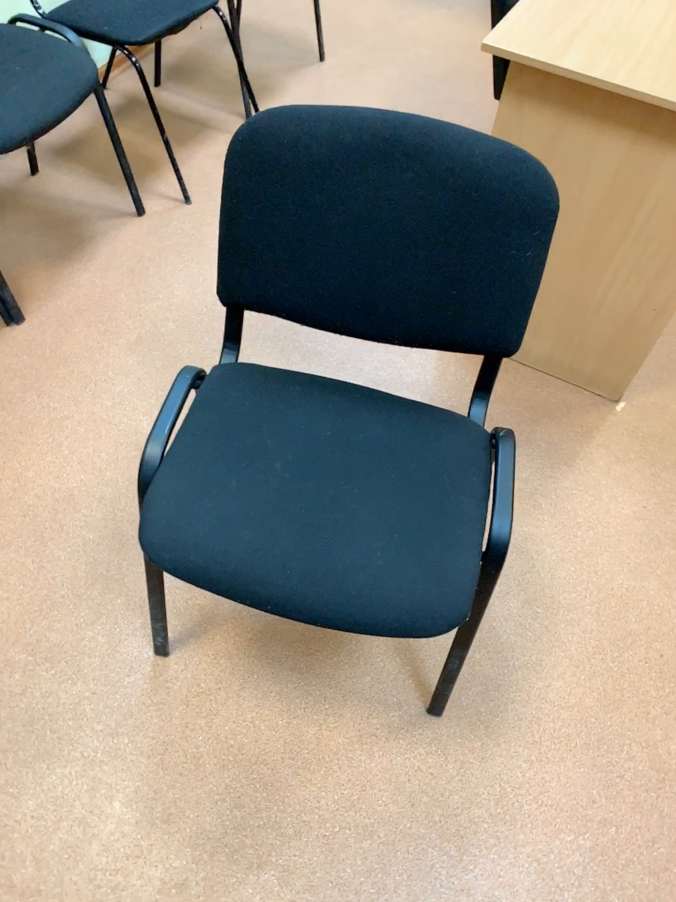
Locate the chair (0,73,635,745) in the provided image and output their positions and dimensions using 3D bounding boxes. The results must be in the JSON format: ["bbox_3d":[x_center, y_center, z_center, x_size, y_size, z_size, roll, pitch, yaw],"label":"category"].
[{"bbox_3d":[0.004,-0.006,1.086,0.574,0.784,0.594,13,54,4],"label":"chair"}]
